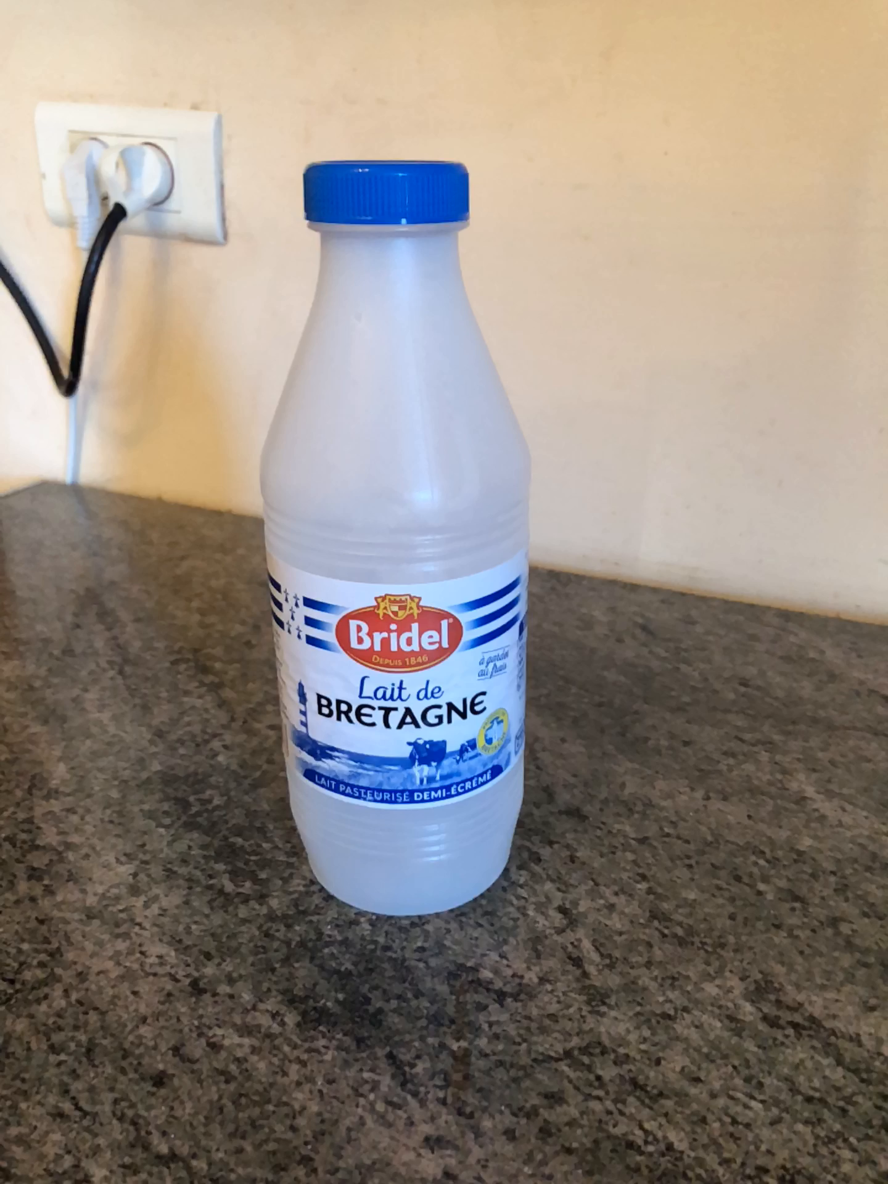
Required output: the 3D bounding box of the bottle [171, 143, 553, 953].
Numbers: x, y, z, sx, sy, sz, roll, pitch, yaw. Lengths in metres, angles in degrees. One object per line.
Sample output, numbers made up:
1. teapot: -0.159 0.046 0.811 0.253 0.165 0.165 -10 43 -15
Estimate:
1. bottle: -0.018 -0.012 0.318 0.090 0.239 0.090 1 23 0
